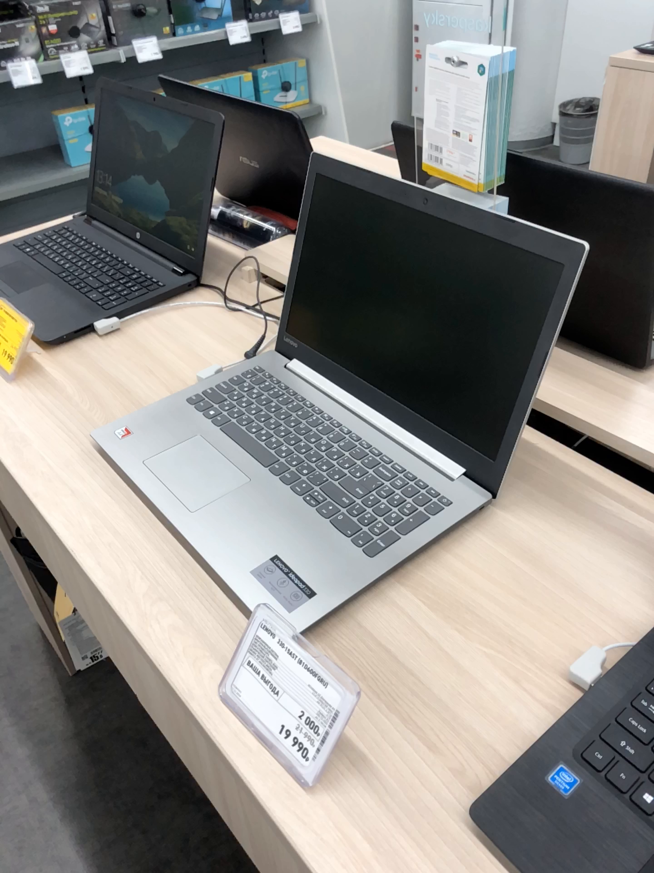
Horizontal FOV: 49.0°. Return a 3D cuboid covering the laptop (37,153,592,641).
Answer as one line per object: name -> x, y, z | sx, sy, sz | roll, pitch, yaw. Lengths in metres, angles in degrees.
laptop -> -0.022, -0.084, 0.721 | 0.344, 0.235, 0.381 | -28, 43, -27
